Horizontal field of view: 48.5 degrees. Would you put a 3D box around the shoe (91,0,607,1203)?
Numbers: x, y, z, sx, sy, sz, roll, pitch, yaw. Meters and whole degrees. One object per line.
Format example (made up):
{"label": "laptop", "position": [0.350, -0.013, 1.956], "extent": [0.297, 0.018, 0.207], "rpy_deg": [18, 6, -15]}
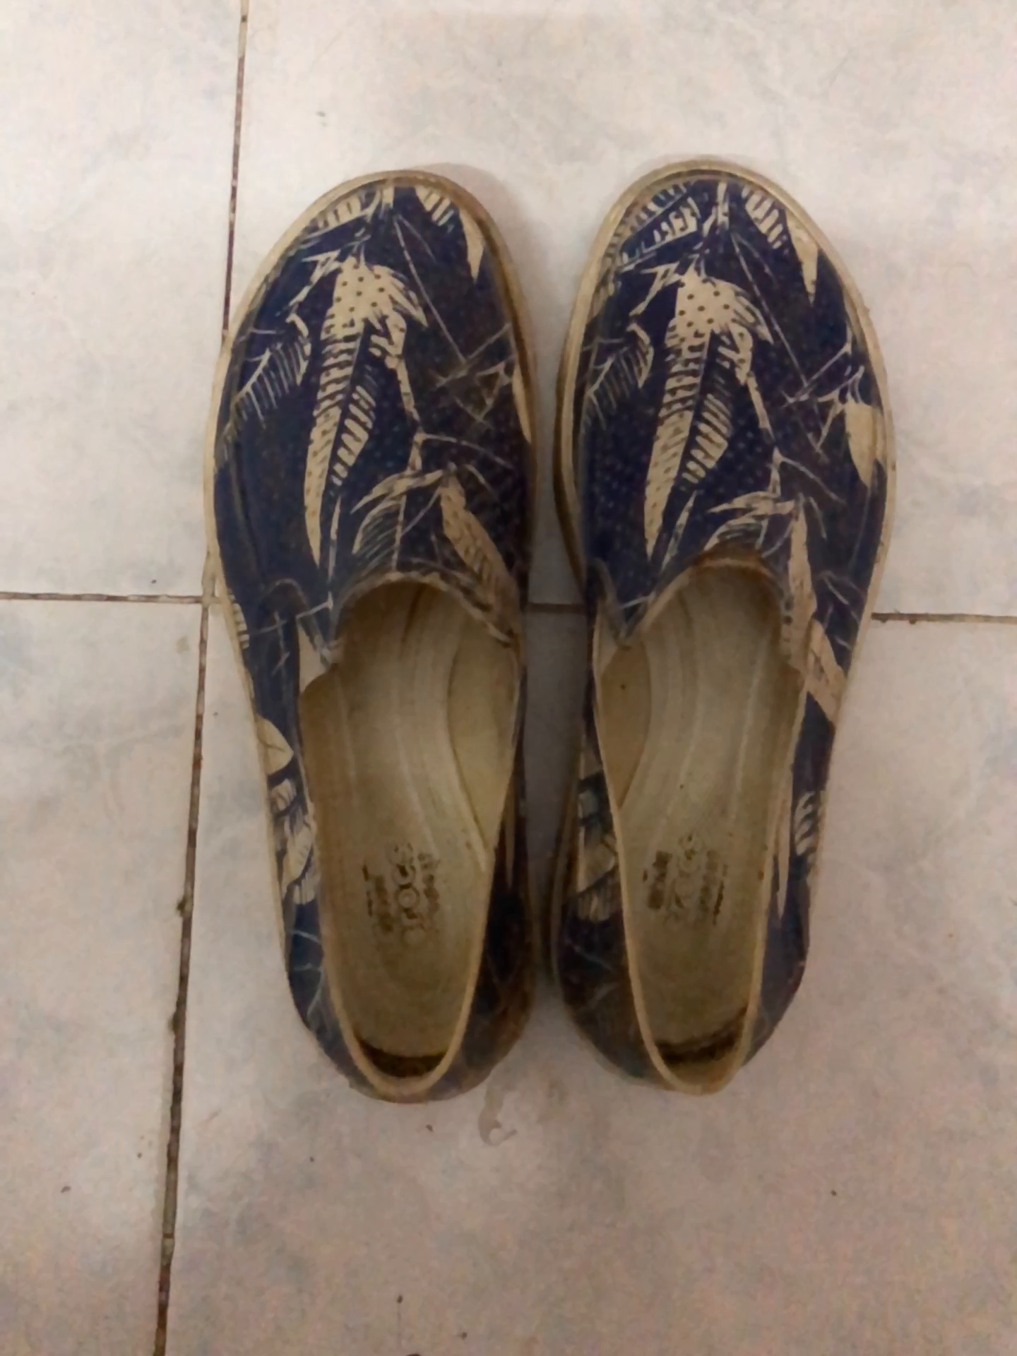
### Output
{"label": "shoe", "position": [-0.044, -0.030, 0.329], "extent": [0.110, 0.100, 0.310], "rpy_deg": [-5, 82, 0]}

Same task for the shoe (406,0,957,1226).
{"label": "shoe", "position": [0.053, -0.025, 0.325], "extent": [0.110, 0.100, 0.300], "rpy_deg": [5, 82, 9]}
